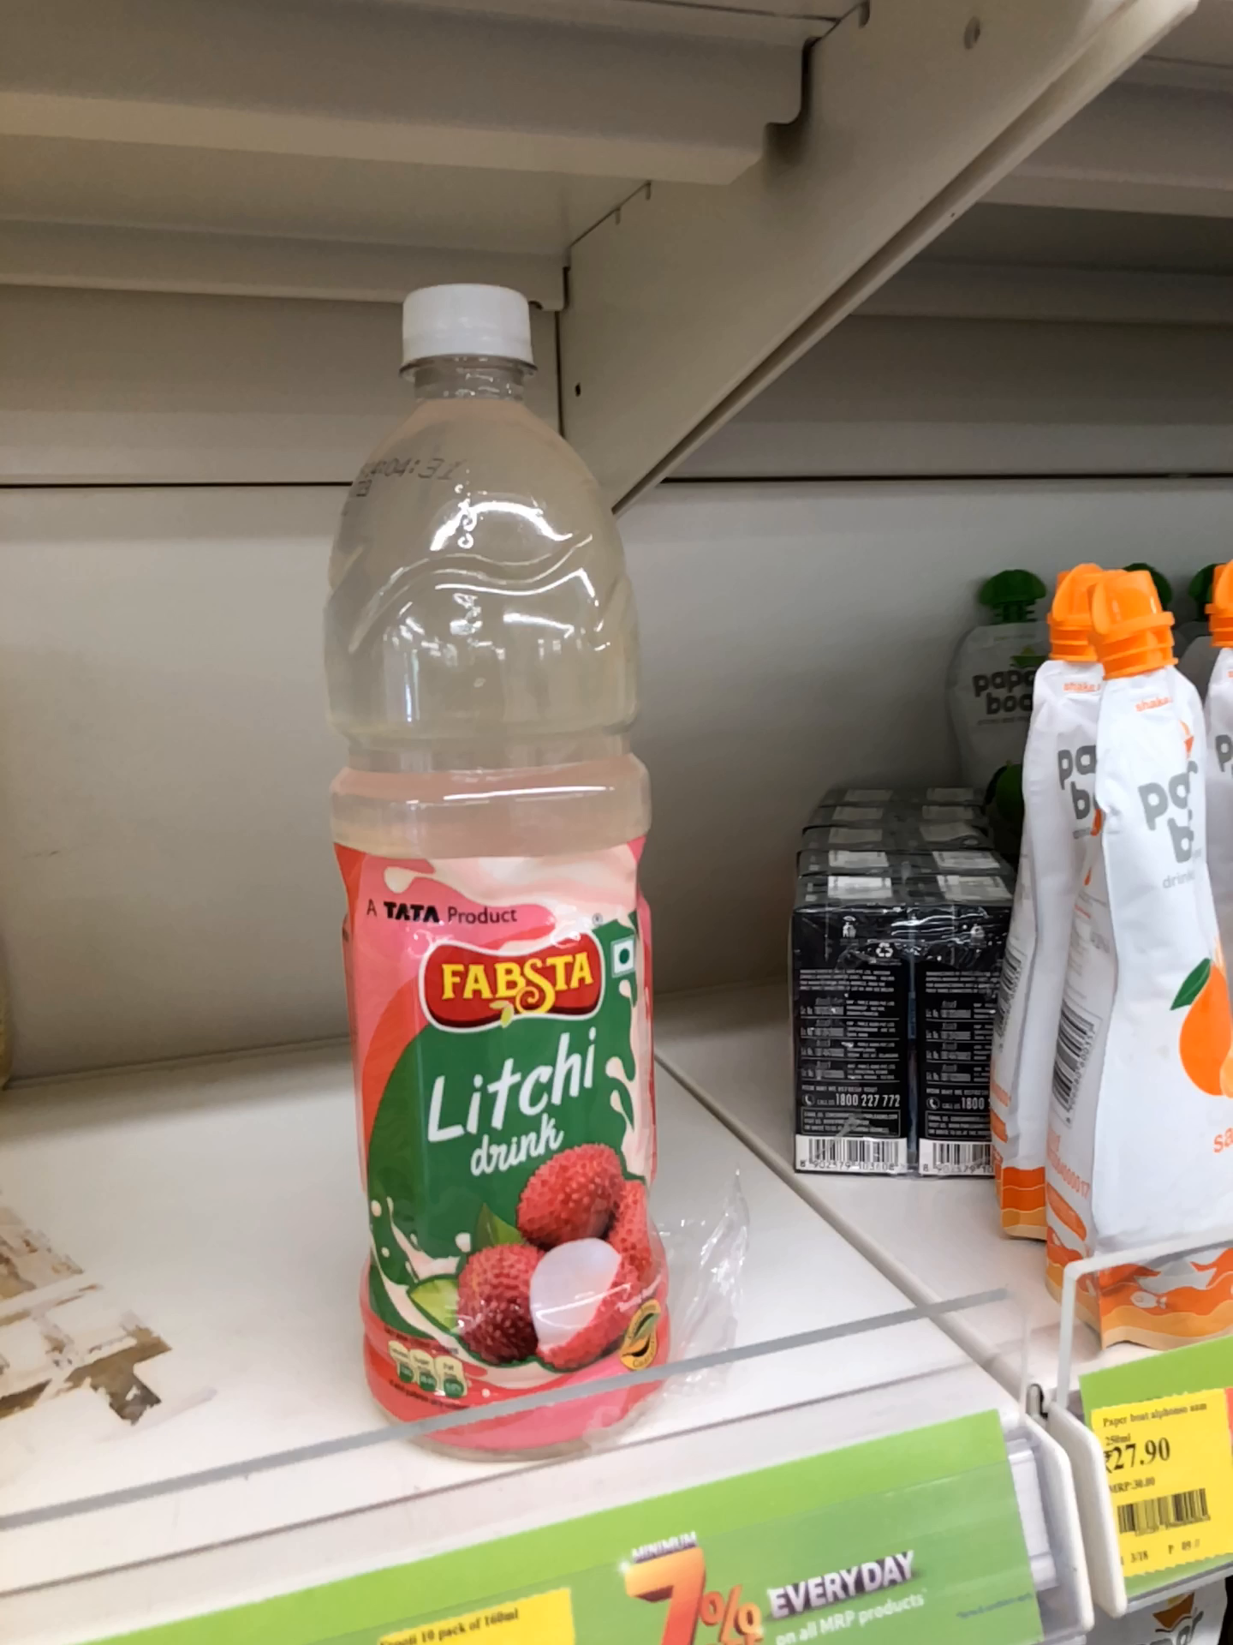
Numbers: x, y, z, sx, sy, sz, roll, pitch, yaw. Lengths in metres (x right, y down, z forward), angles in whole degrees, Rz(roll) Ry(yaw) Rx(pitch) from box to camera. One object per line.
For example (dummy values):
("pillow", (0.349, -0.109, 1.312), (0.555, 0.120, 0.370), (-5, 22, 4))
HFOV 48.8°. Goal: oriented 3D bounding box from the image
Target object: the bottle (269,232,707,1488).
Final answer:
("bottle", (-0.027, 0.010, 0.325), (0.080, 0.269, 0.070), (-3, 10, -7))
